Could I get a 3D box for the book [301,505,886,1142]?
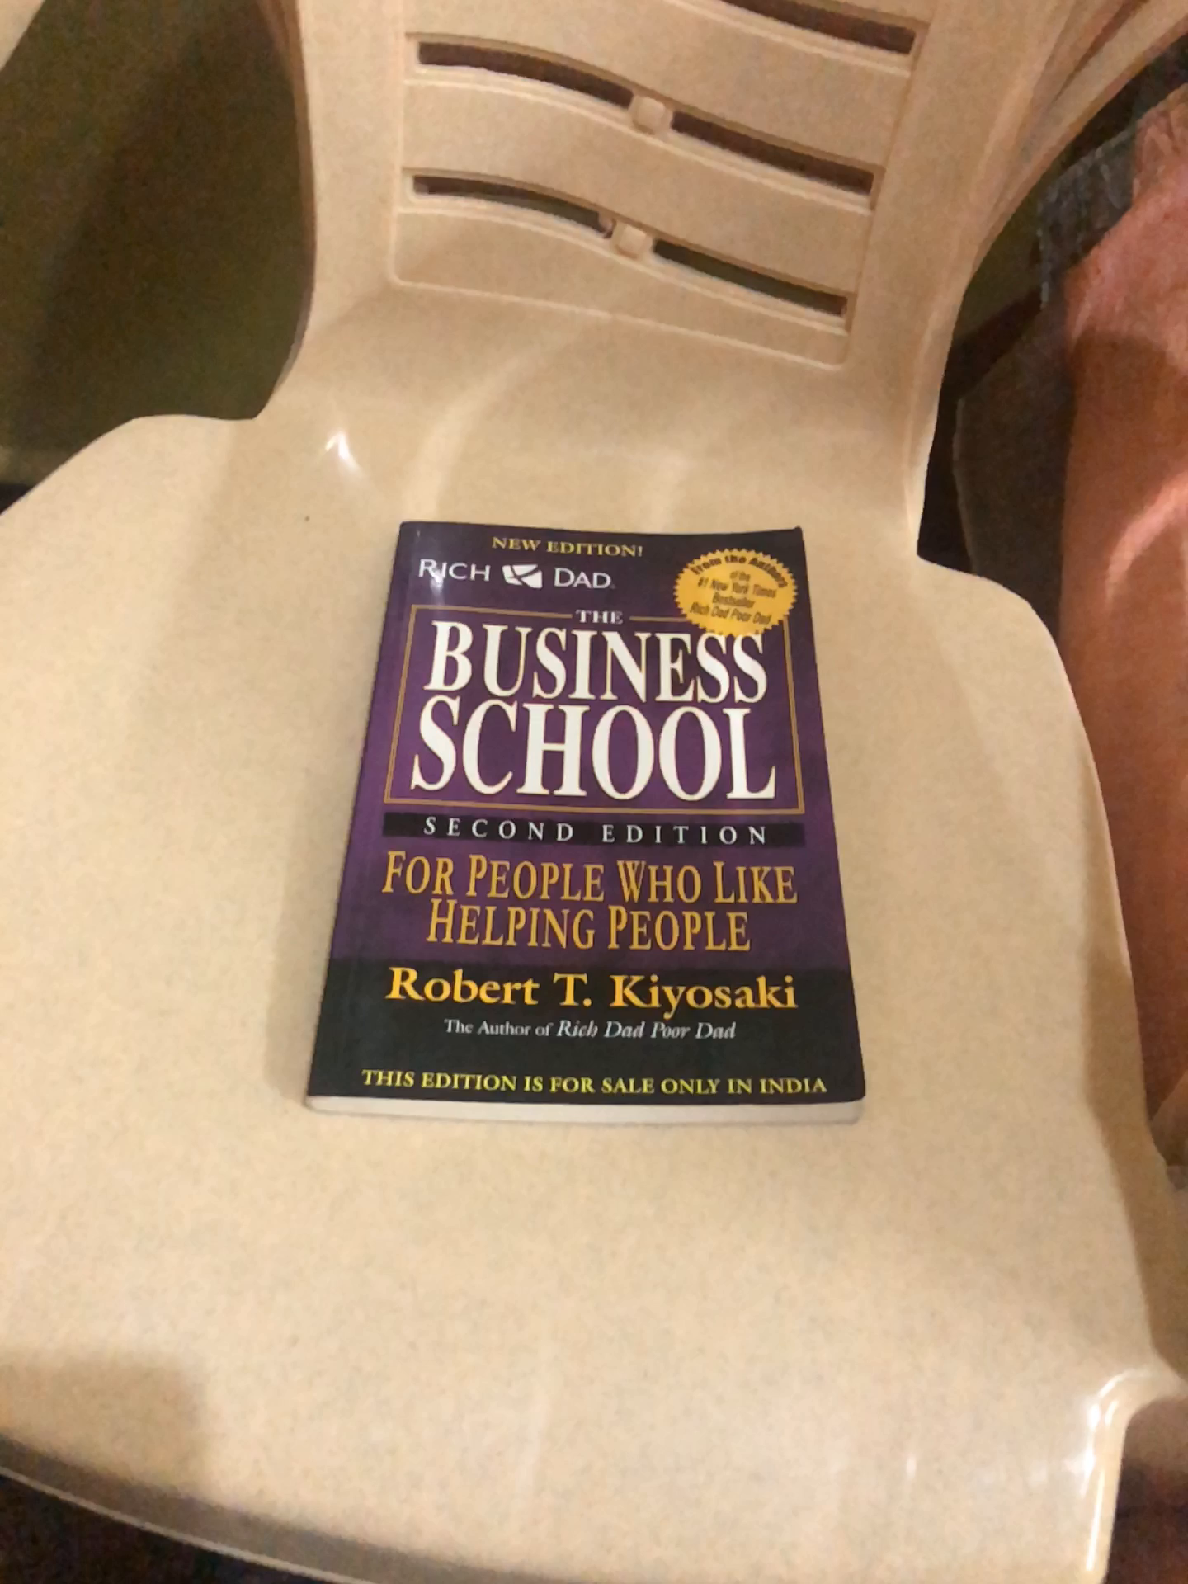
[{"bbox_3d":[0.002,-0.001,0.448,0.170,0.020,0.230,2,60,-1],"label":"book"}]
